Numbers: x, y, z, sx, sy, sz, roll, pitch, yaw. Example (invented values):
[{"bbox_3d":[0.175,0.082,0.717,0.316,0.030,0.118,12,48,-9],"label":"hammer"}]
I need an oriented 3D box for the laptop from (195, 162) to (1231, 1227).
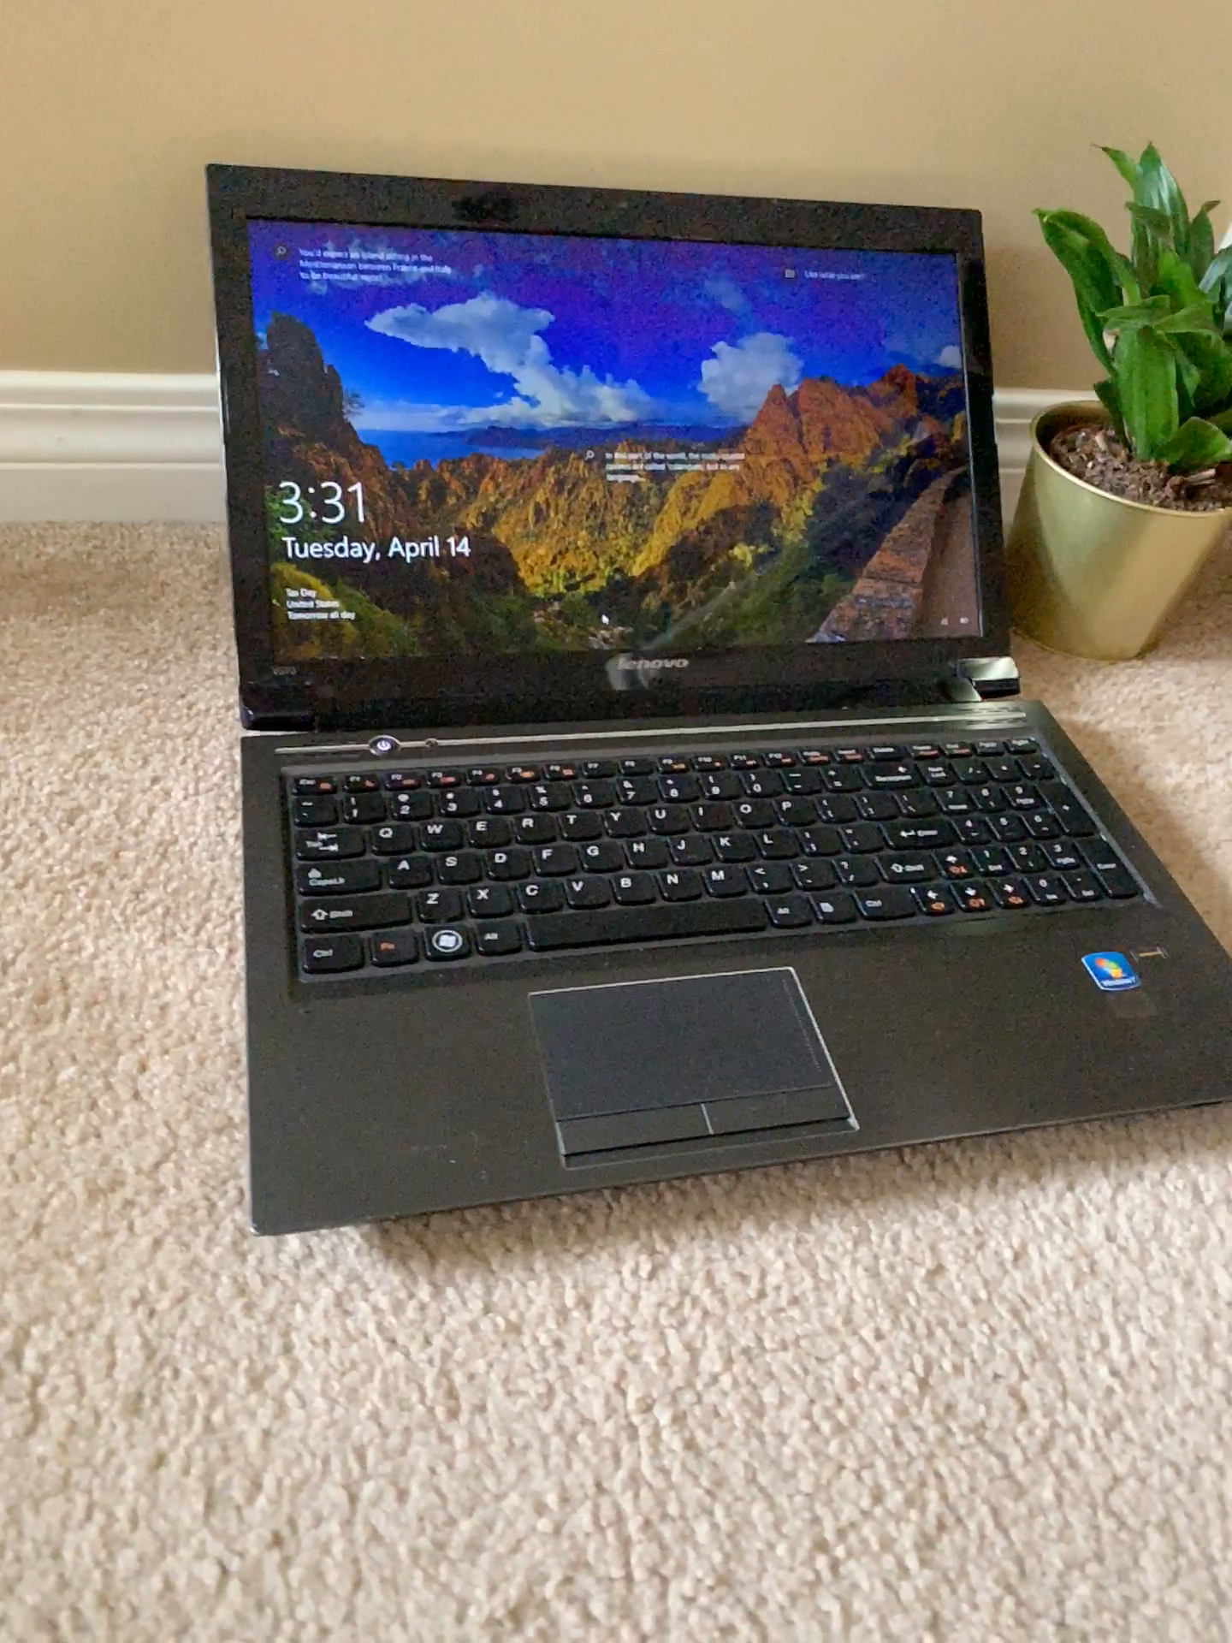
[{"bbox_3d":[0.037,-0.093,0.503,0.372,0.167,0.412,-4,44,-15],"label":"laptop"}]
